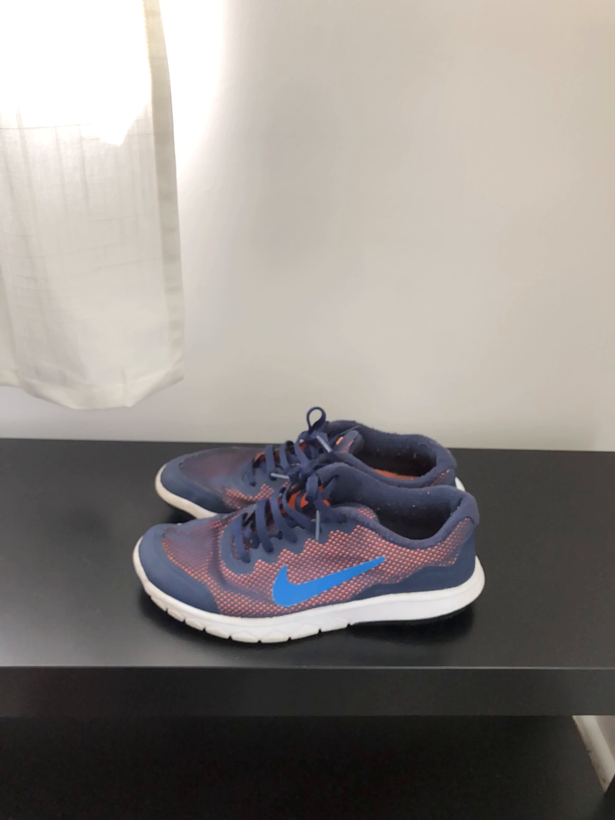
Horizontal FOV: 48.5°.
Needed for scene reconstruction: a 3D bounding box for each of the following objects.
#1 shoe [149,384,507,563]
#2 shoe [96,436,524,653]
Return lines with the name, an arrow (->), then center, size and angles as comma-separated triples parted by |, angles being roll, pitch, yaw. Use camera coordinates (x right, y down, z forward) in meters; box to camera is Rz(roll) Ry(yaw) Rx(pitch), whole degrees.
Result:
shoe -> 0.014, 0.049, 0.560 | 0.260, 0.089, 0.100 | 4, 30, -1
shoe -> -0.002, 0.089, 0.485 | 0.260, 0.089, 0.121 | 0, 30, -6
